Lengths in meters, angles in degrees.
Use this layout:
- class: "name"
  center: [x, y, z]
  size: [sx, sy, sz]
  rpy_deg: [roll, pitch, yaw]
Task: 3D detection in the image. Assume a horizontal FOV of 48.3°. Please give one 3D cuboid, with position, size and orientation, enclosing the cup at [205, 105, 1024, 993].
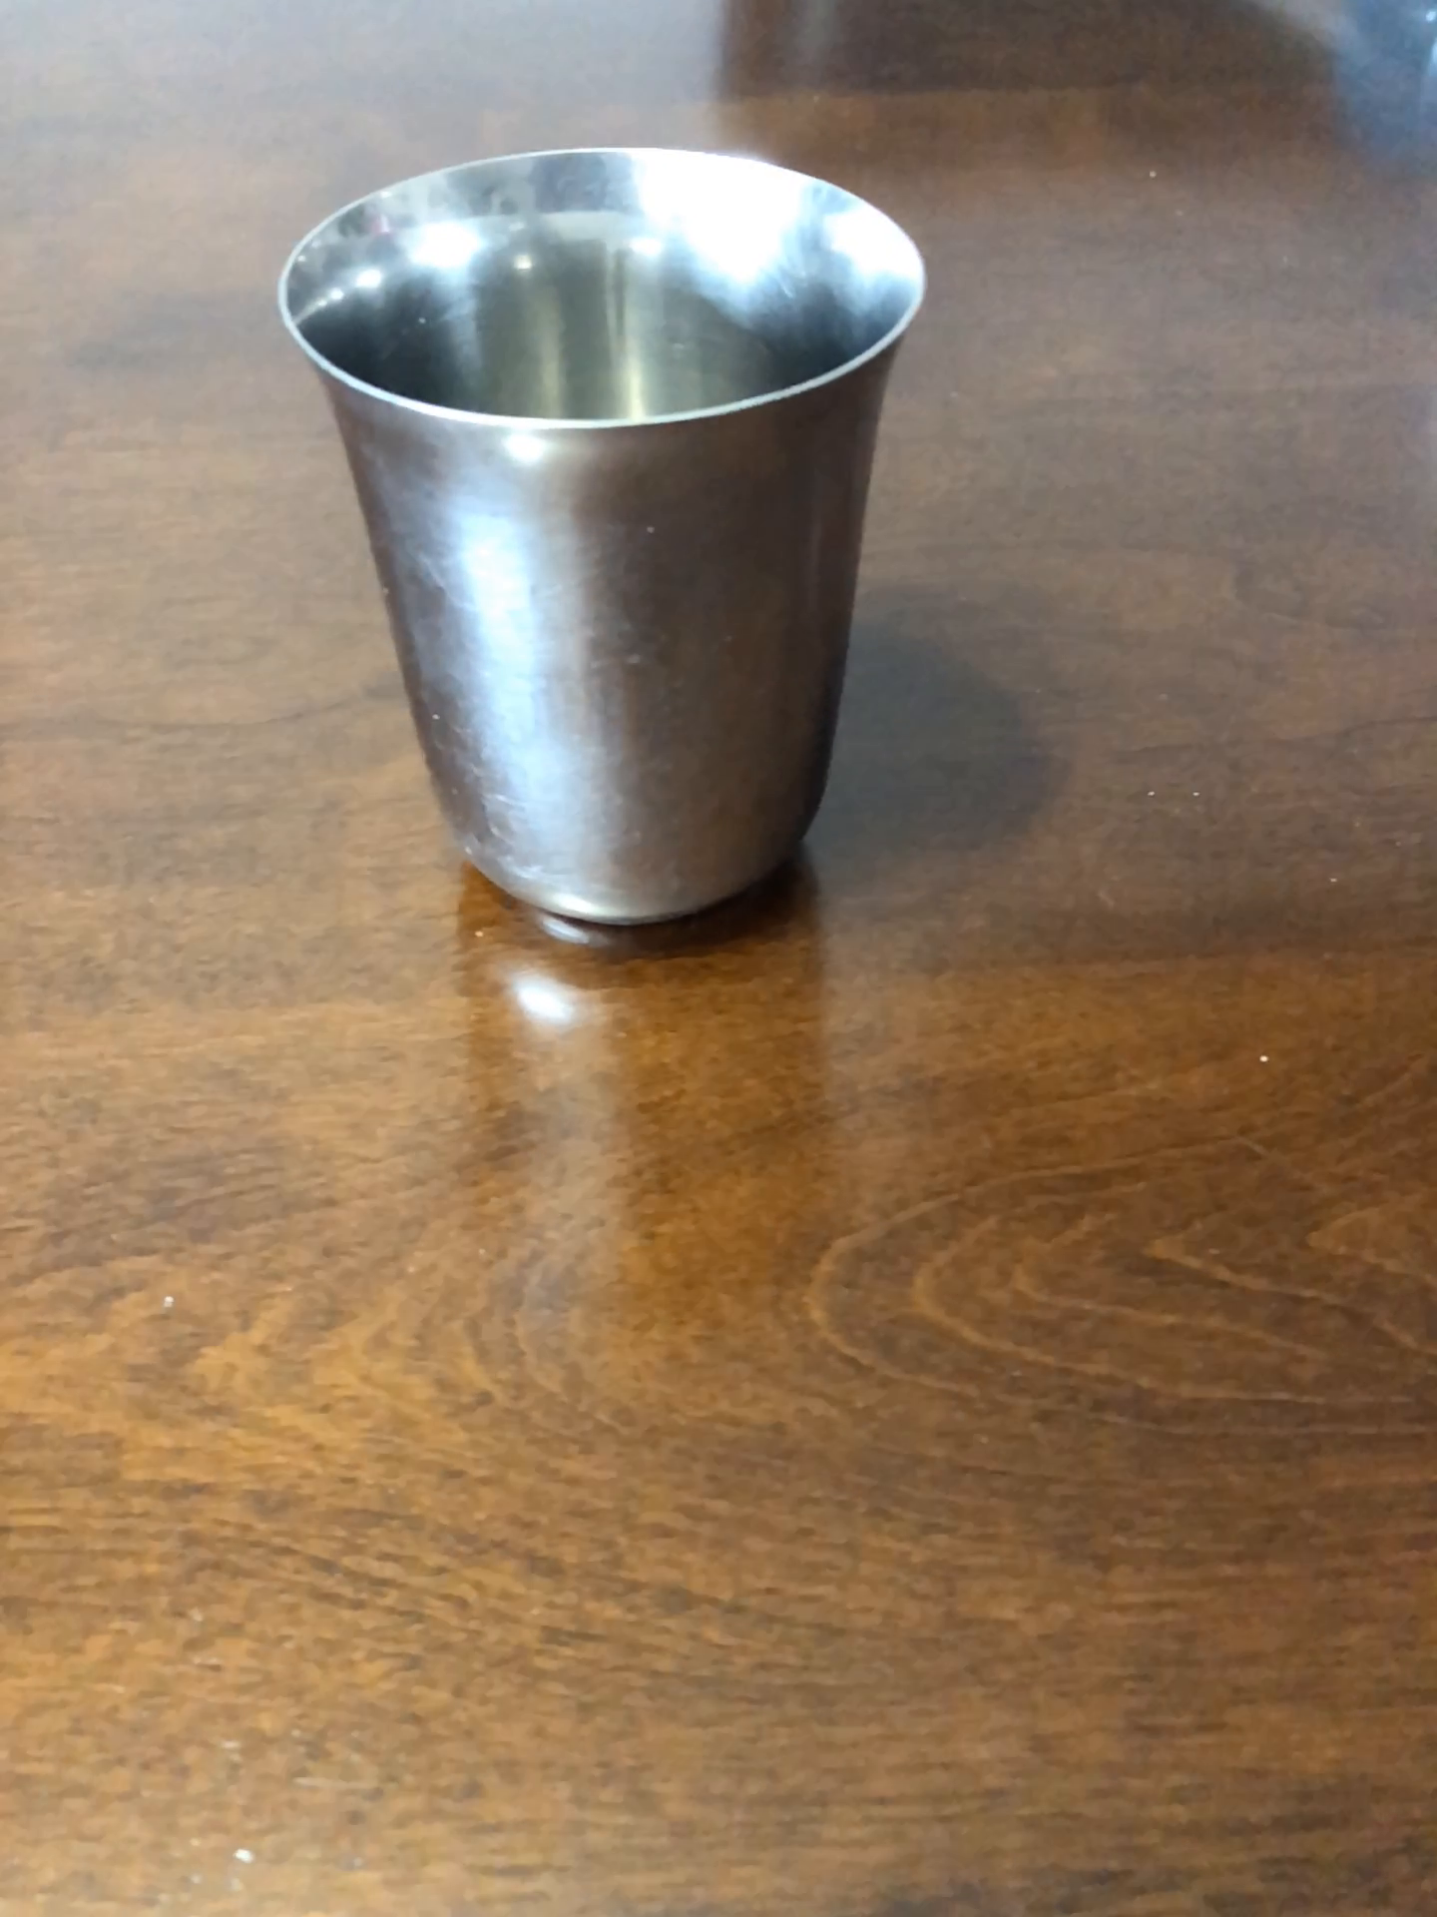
- class: "cup"
  center: [-0.017, -0.061, 0.230]
  size: [0.080, 0.080, 0.080]
  rpy_deg: [0, 46, 0]
